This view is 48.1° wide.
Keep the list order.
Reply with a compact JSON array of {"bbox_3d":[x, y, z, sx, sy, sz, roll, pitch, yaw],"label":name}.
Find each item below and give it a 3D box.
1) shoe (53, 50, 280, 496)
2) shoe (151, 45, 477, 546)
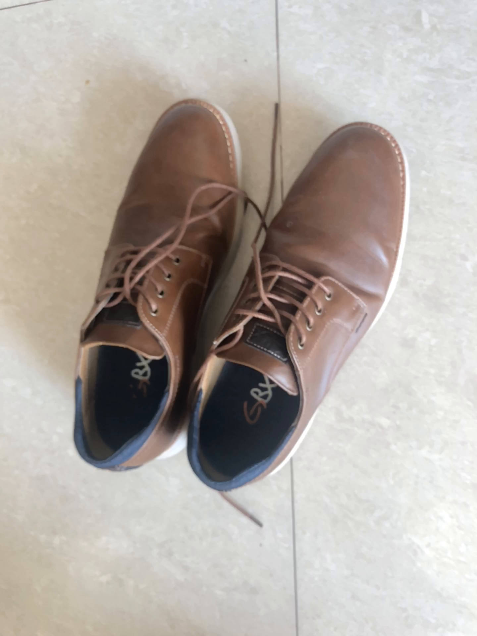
[{"bbox_3d":[-0.052,-0.035,0.436,0.100,0.100,0.310,12,93,12],"label":"shoe"},{"bbox_3d":[0.053,-0.013,0.395,0.100,0.100,0.310,23,95,11],"label":"shoe"}]
